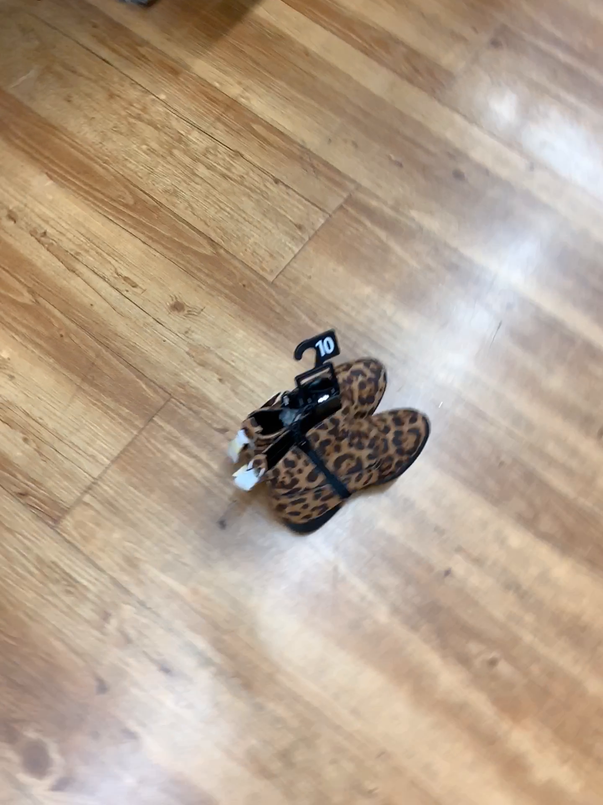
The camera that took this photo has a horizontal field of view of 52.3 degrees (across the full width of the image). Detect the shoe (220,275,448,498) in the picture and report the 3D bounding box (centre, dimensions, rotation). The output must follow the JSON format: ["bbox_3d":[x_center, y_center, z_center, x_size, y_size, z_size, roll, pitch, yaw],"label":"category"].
[{"bbox_3d":[0.026,-0.010,0.564,0.190,0.120,0.070,-38,78,-15],"label":"shoe"}]

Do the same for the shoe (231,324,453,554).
[{"bbox_3d":[0.045,0.033,0.567,0.180,0.120,0.070,-33,48,-14],"label":"shoe"}]
